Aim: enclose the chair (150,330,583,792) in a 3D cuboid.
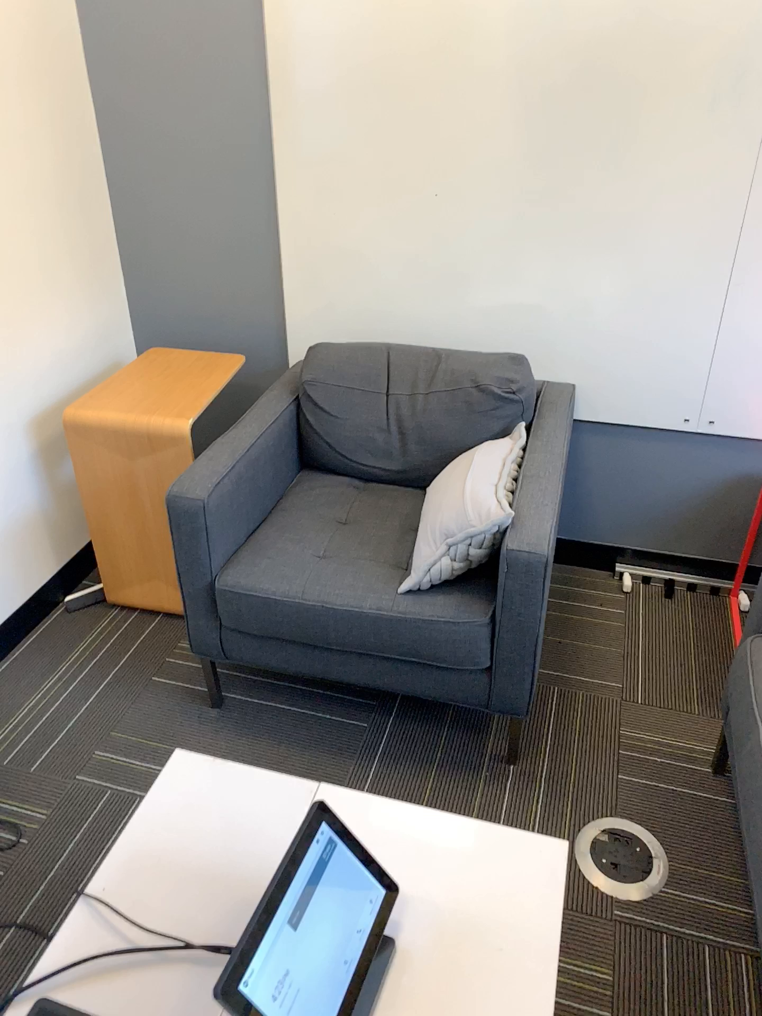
[{"bbox_3d":[0.047,0.056,2.091,0.841,0.716,0.945,8,33,13],"label":"chair"}]
